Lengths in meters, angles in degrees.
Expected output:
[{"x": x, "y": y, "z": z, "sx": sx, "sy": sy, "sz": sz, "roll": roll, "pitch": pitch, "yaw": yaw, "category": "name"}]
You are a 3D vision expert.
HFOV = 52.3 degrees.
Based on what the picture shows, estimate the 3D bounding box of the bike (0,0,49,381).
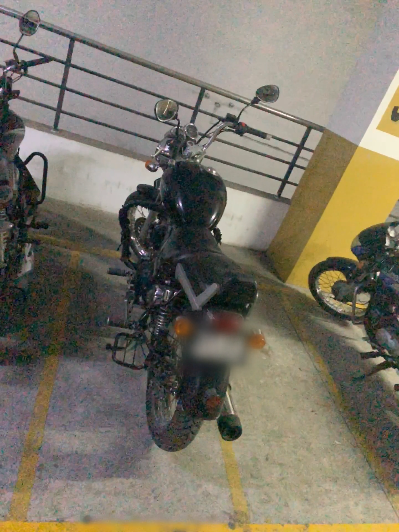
[{"x": -1.330, "y": -0.598, "z": 2.096, "sx": 0.719, "sy": 1.277, "sz": 1.571, "roll": 11, "pitch": 32, "yaw": -21, "category": "bike"}]

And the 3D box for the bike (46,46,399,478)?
[{"x": -0.221, "y": -0.176, "z": 2.097, "sx": 0.852, "sy": 1.232, "sz": 1.806, "roll": 10, "pitch": 30, "yaw": -24, "category": "bike"}]
